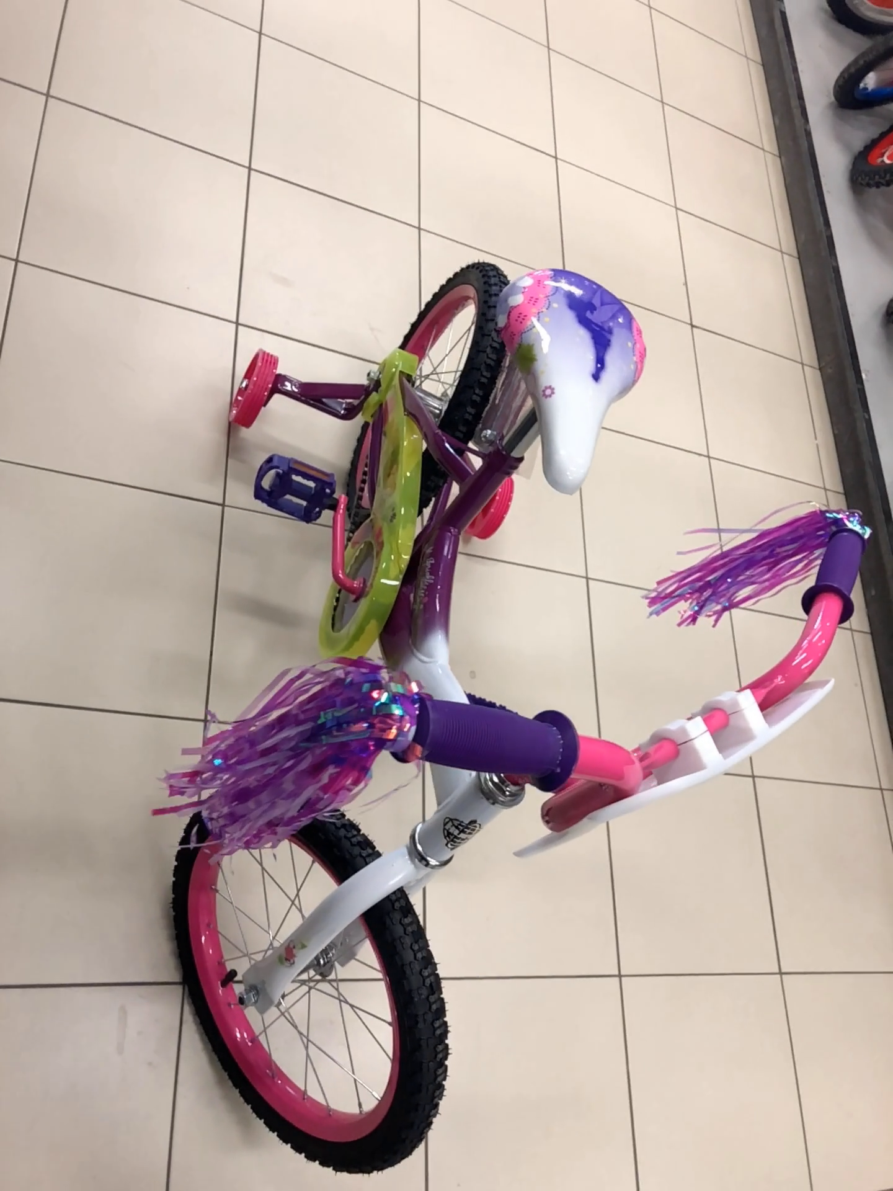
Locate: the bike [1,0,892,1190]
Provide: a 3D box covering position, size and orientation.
[{"bbox_3d":[0.049,-0.019,0.969,0.595,0.810,1.069,16,63,-24],"label":"bike"}]
